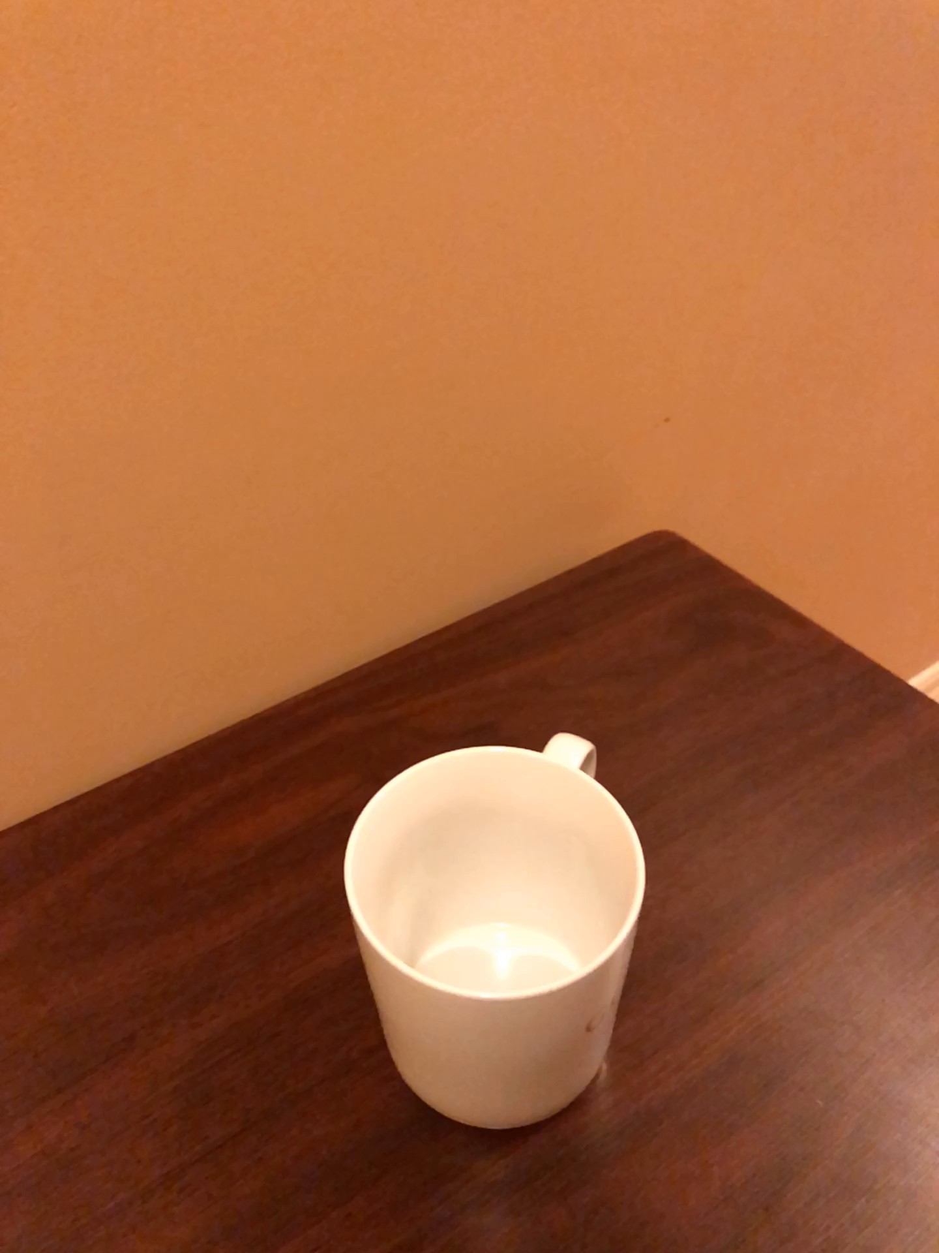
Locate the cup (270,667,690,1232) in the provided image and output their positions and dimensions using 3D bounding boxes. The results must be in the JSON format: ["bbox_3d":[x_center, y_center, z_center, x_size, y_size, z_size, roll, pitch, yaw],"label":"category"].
[{"bbox_3d":[0.014,0.109,0.382,0.110,0.100,0.151,7,40,12],"label":"cup"}]
